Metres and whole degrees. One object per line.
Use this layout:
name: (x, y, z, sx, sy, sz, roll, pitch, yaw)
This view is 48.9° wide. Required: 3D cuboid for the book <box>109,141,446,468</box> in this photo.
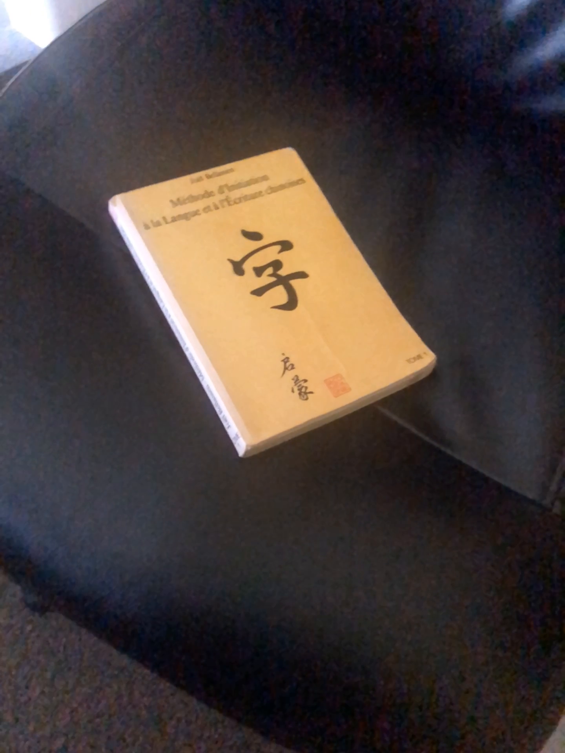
book: (-0.010, -0.065, 0.446, 0.153, 0.028, 0.220, -23, 67, -17)
